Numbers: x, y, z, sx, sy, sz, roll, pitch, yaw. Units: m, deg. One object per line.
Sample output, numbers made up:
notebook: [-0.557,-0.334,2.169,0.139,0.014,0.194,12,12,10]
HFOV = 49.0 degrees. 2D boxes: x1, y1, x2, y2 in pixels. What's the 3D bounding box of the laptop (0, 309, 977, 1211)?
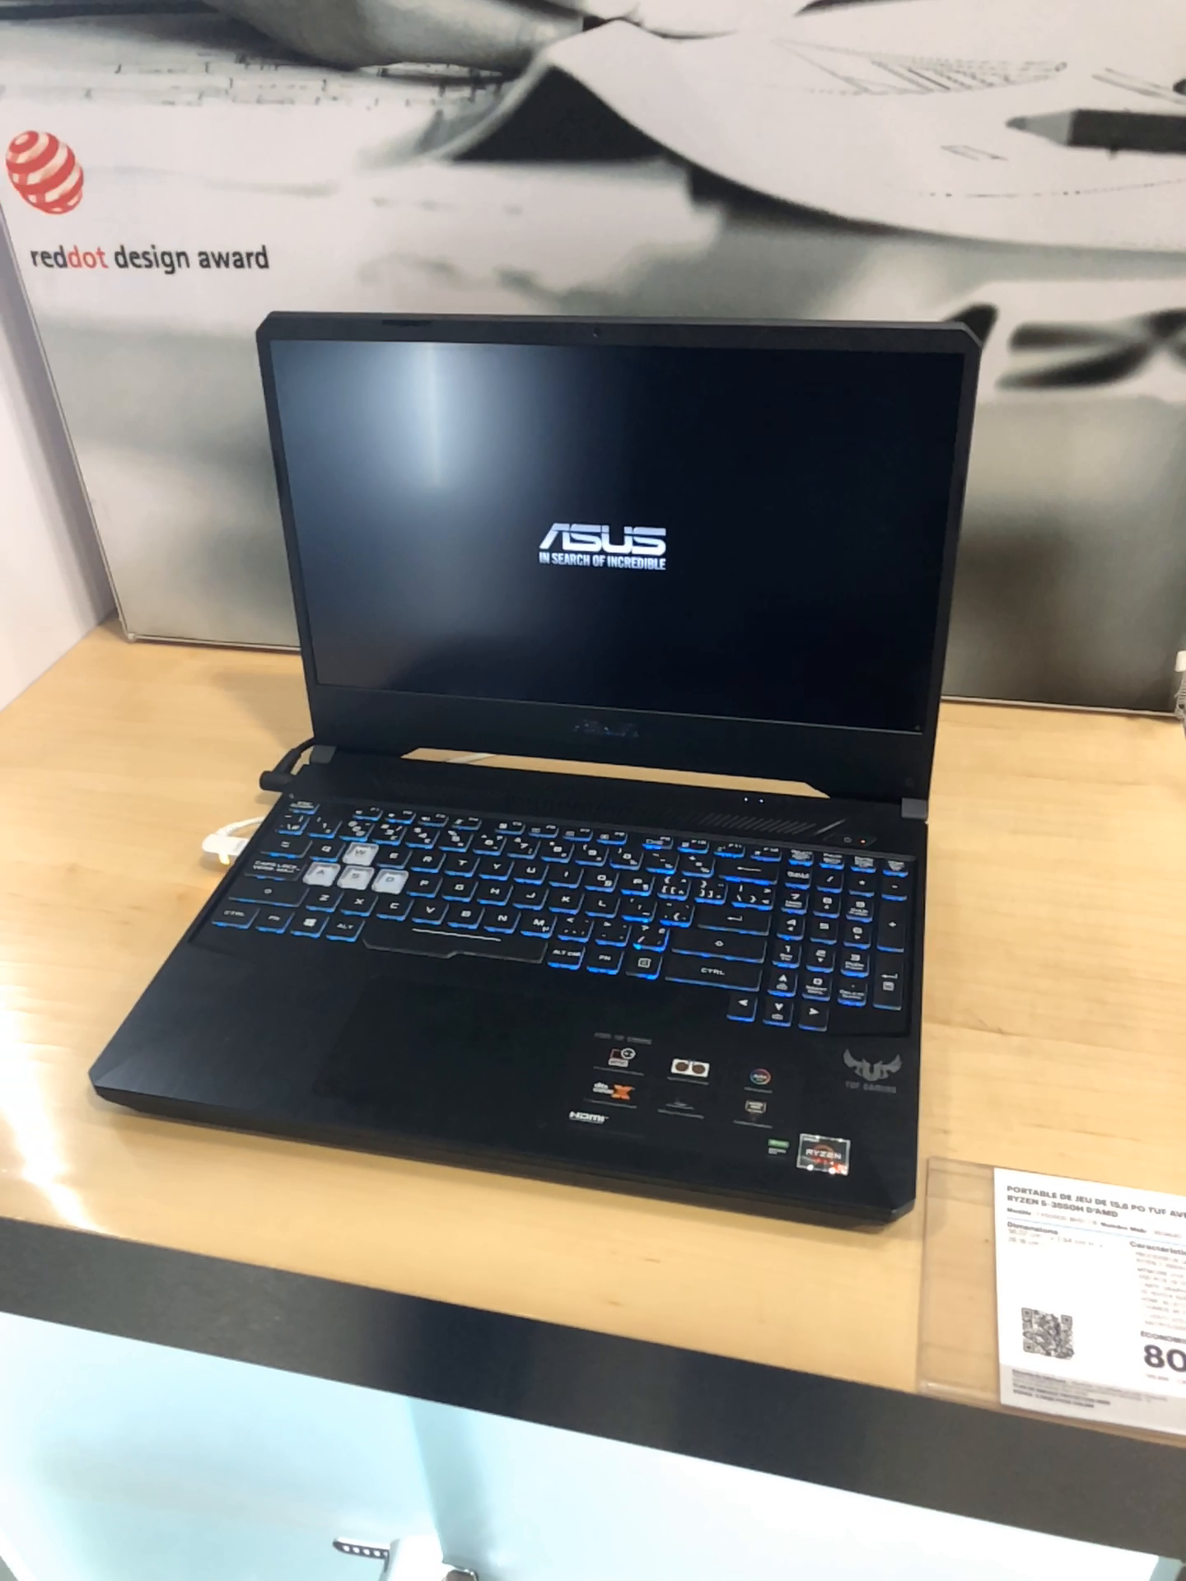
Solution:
laptop: [-0.028,-0.043,0.590,0.359,0.245,0.310,5,37,12]
